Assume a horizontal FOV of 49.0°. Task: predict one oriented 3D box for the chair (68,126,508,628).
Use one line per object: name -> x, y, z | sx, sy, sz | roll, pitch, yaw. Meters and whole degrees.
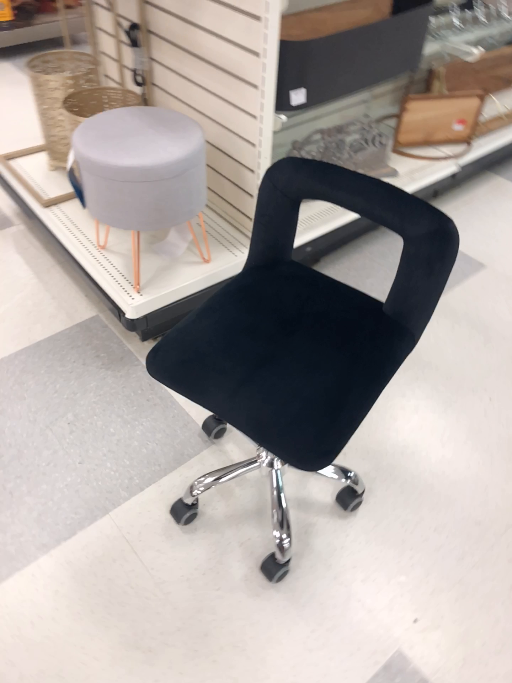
chair -> 0.053, 0.074, 1.078 | 0.462, 0.694, 0.487 | 29, 51, 23
